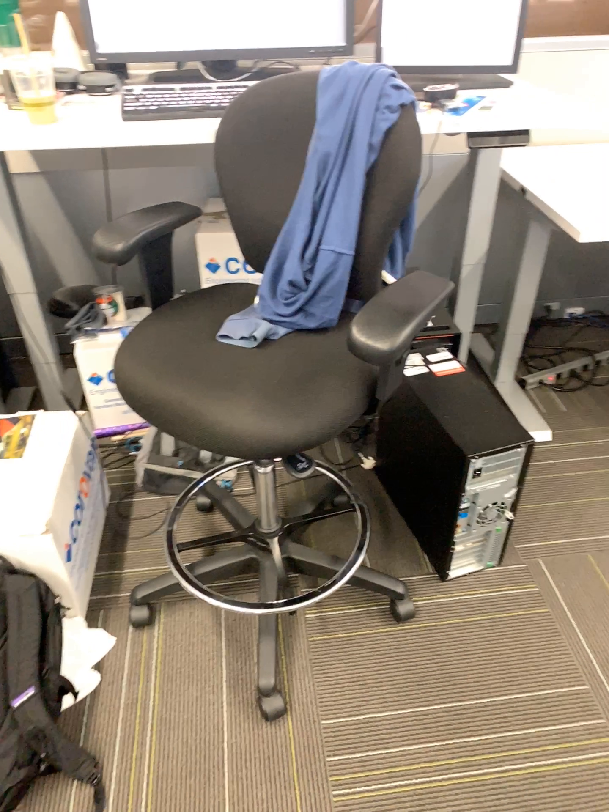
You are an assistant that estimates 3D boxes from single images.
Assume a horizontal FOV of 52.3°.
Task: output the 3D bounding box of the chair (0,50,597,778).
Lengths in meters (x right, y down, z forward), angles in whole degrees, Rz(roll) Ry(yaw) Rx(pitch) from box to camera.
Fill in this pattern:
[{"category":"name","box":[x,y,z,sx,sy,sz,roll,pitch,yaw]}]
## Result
[{"category":"chair","box":[-0.050,-0.056,1.306,0.743,1.063,0.842,26,44,30]}]
